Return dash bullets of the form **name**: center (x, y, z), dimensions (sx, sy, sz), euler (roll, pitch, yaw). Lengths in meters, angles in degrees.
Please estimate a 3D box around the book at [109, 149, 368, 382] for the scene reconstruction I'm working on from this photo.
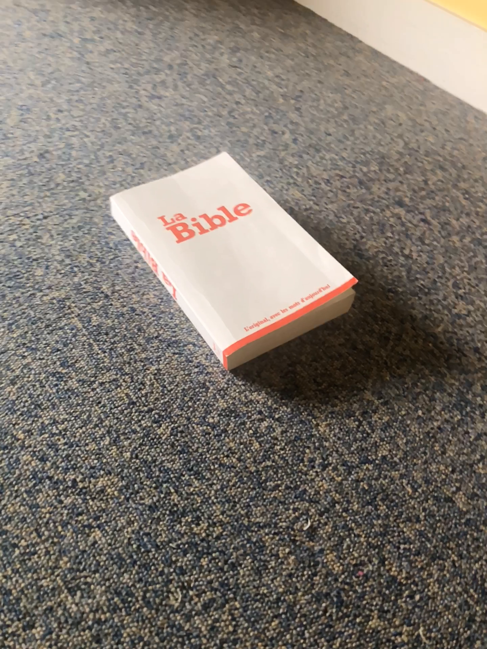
- **book**: center (-0.012, -0.067, 0.484), dimensions (0.134, 0.042, 0.211), euler (-26, 59, -23)
